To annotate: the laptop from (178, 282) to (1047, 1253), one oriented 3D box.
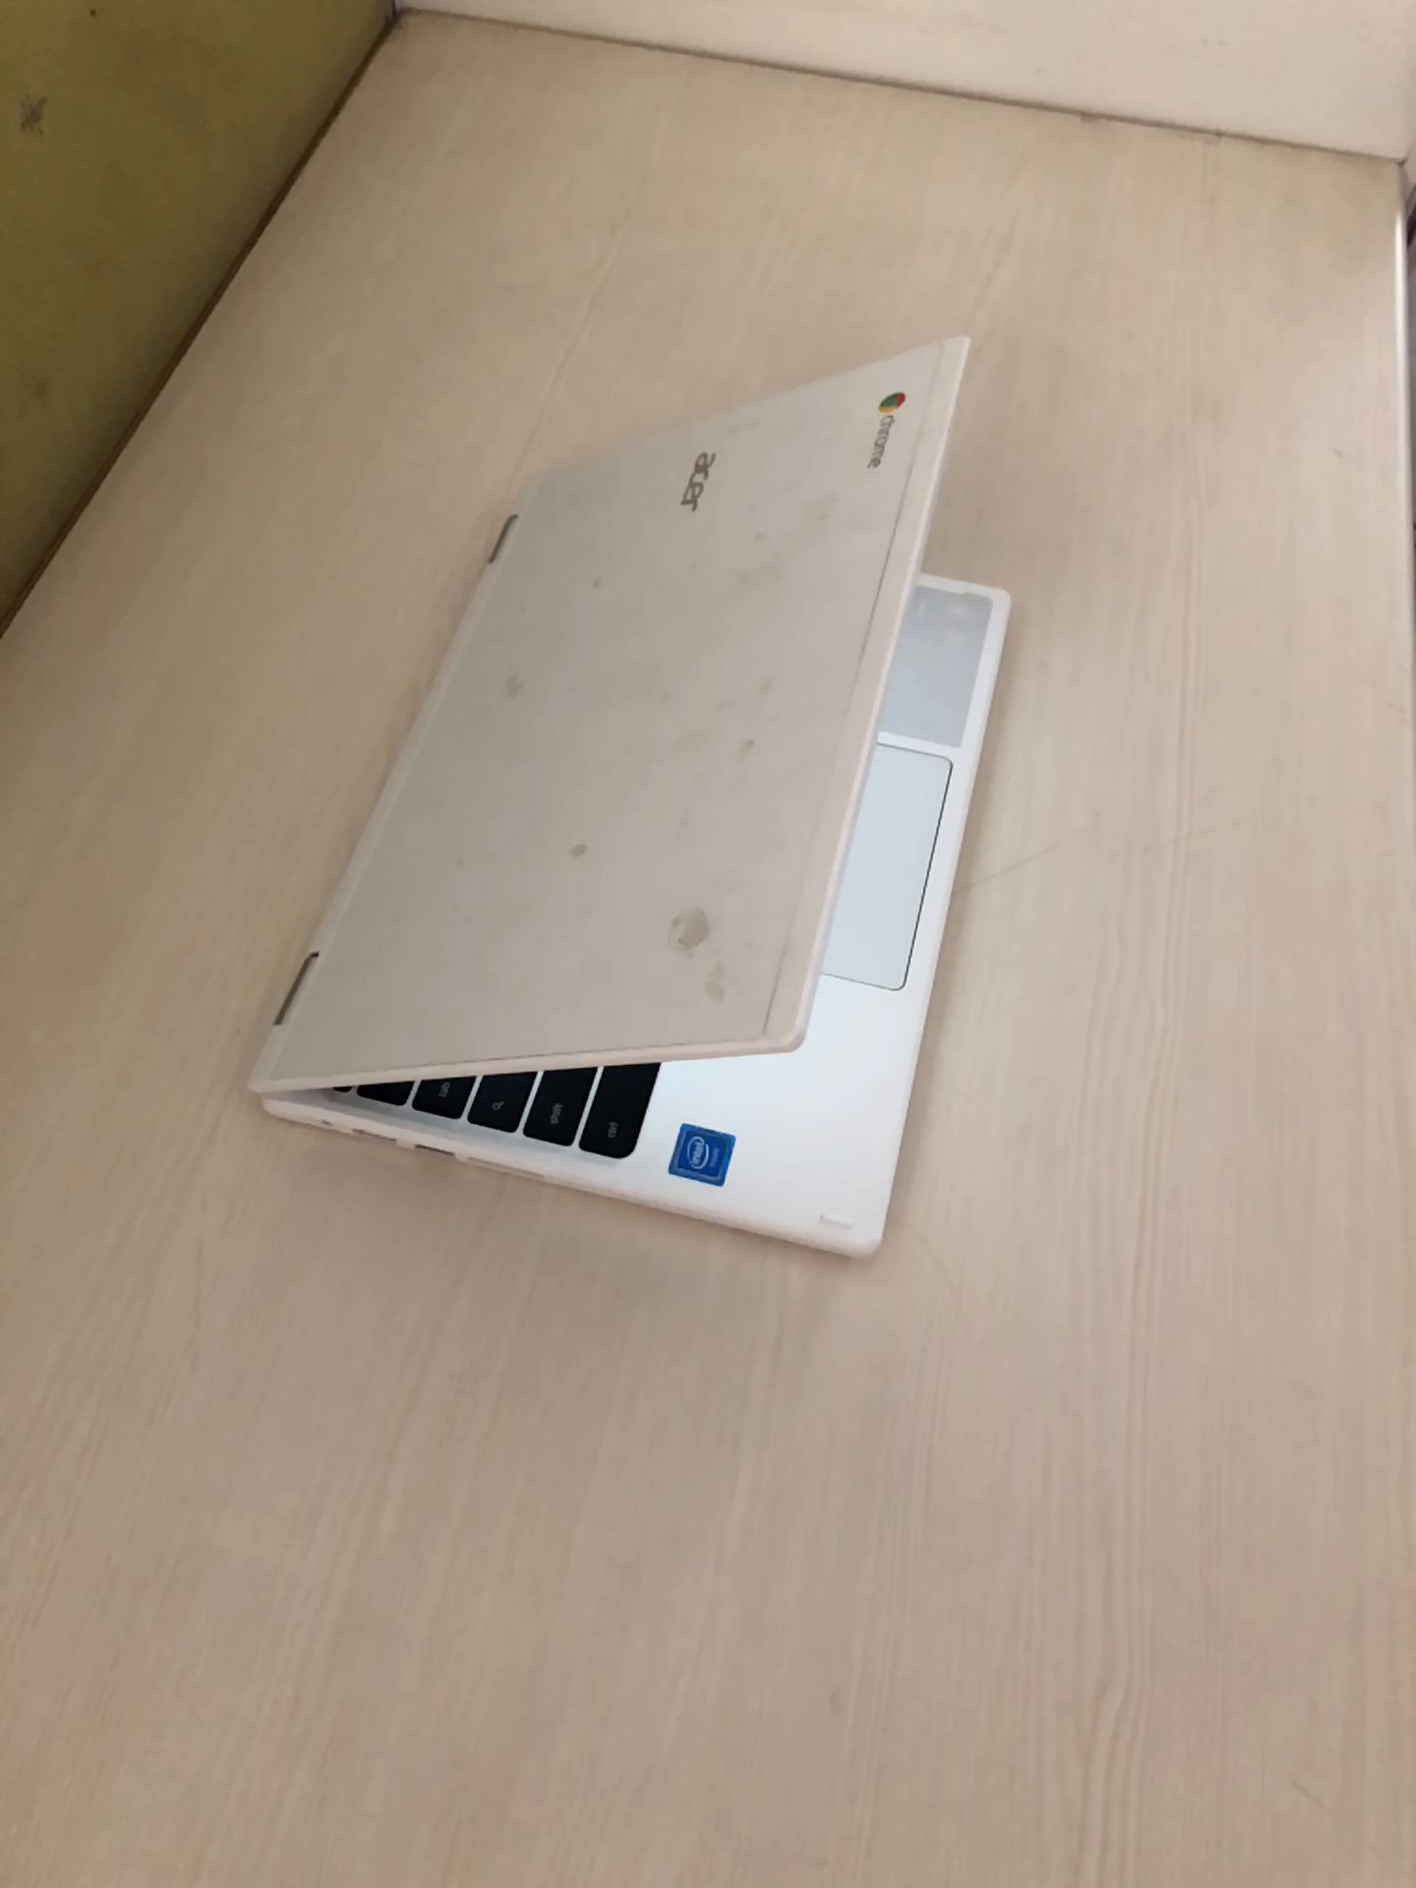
[{"bbox_3d":[-0.010,-0.073,0.521,0.196,0.105,0.291,12,56,5],"label":"laptop"}]
